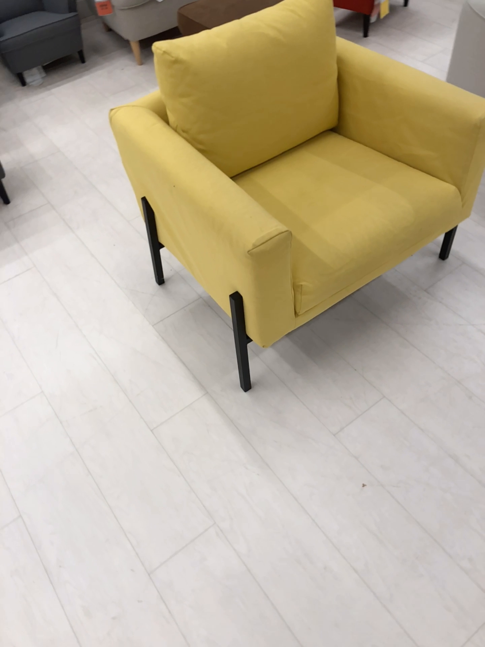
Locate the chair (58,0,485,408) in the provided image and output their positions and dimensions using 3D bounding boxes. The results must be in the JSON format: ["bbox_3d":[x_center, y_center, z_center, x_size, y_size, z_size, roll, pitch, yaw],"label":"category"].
[{"bbox_3d":[0.174,-0.449,1.572,0.981,0.758,0.692,-32,55,-19],"label":"chair"}]
